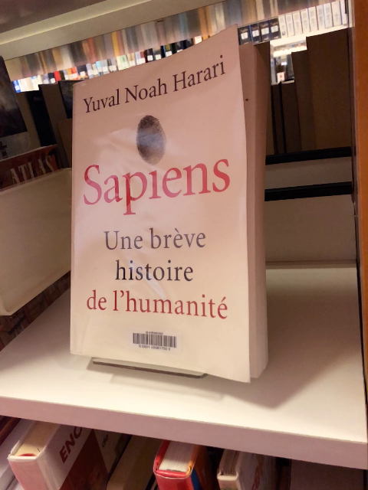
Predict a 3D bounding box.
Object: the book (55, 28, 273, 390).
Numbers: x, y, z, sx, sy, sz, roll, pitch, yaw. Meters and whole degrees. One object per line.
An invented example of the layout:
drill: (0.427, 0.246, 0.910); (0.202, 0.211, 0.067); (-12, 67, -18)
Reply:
book: (-0.023, -0.024, 0.338); (0.177, 0.244, 0.052); (-2, -1, 30)
